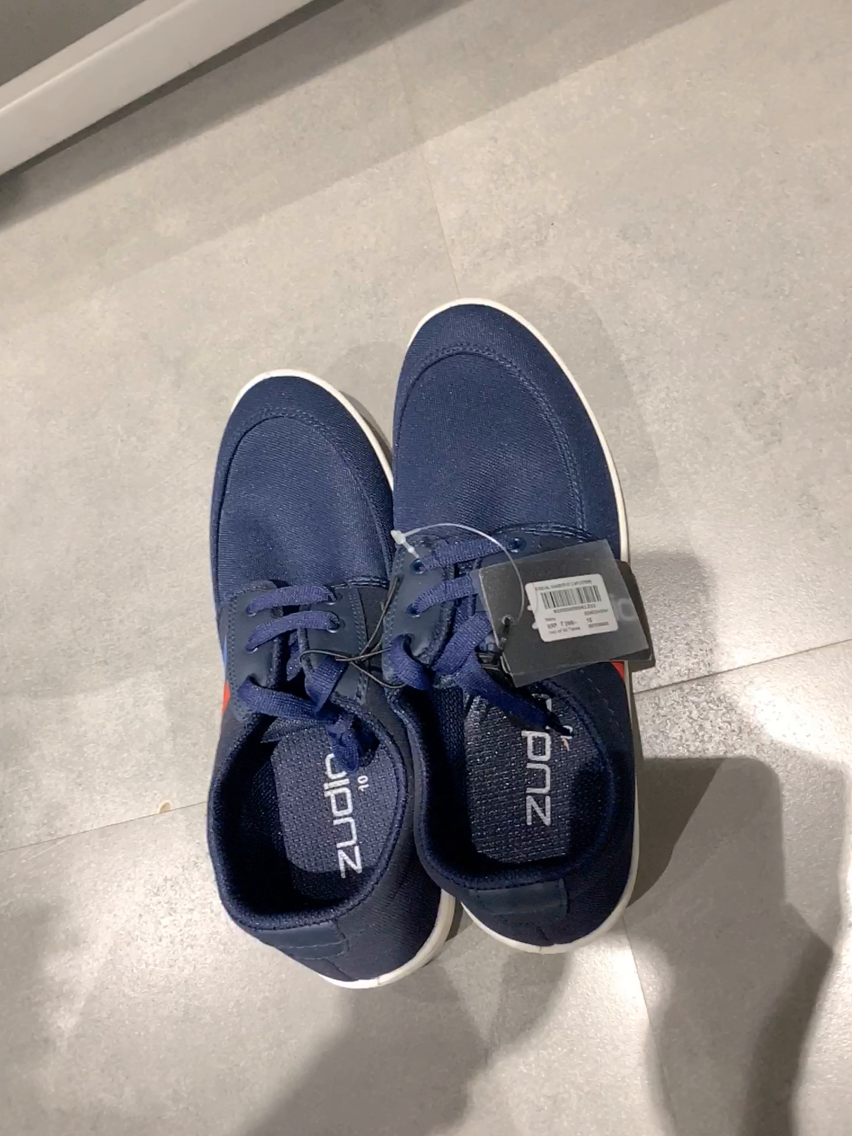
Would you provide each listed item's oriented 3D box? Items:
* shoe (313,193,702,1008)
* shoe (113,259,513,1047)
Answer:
[{"bbox_3d":[0.035,0.014,0.389,0.120,0.100,0.310,-9,76,16],"label":"shoe"},{"bbox_3d":[-0.055,0.035,0.407,0.120,0.100,0.310,-13,75,16],"label":"shoe"}]
